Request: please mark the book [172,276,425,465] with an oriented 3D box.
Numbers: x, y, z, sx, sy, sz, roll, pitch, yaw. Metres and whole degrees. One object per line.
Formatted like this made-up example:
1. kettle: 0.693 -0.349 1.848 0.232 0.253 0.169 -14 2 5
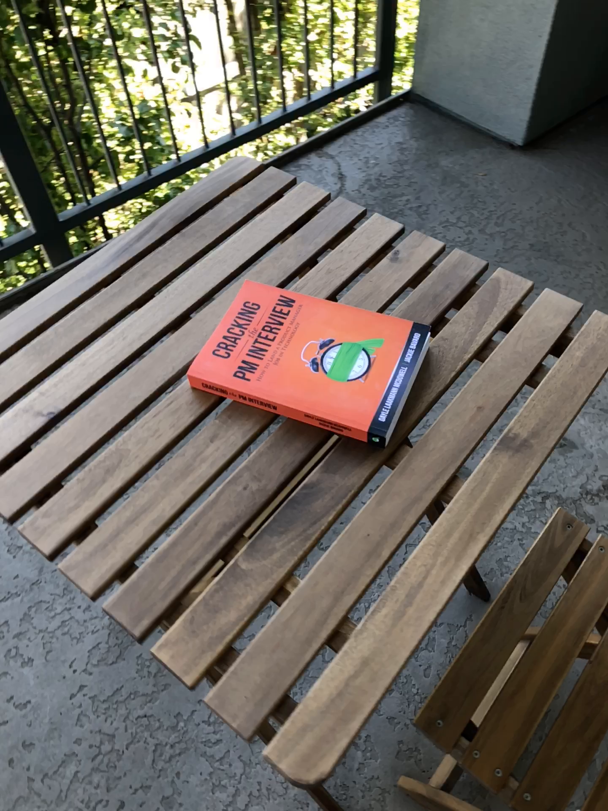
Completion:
1. book: -0.003 -0.048 0.754 0.230 0.040 0.170 18 56 15
